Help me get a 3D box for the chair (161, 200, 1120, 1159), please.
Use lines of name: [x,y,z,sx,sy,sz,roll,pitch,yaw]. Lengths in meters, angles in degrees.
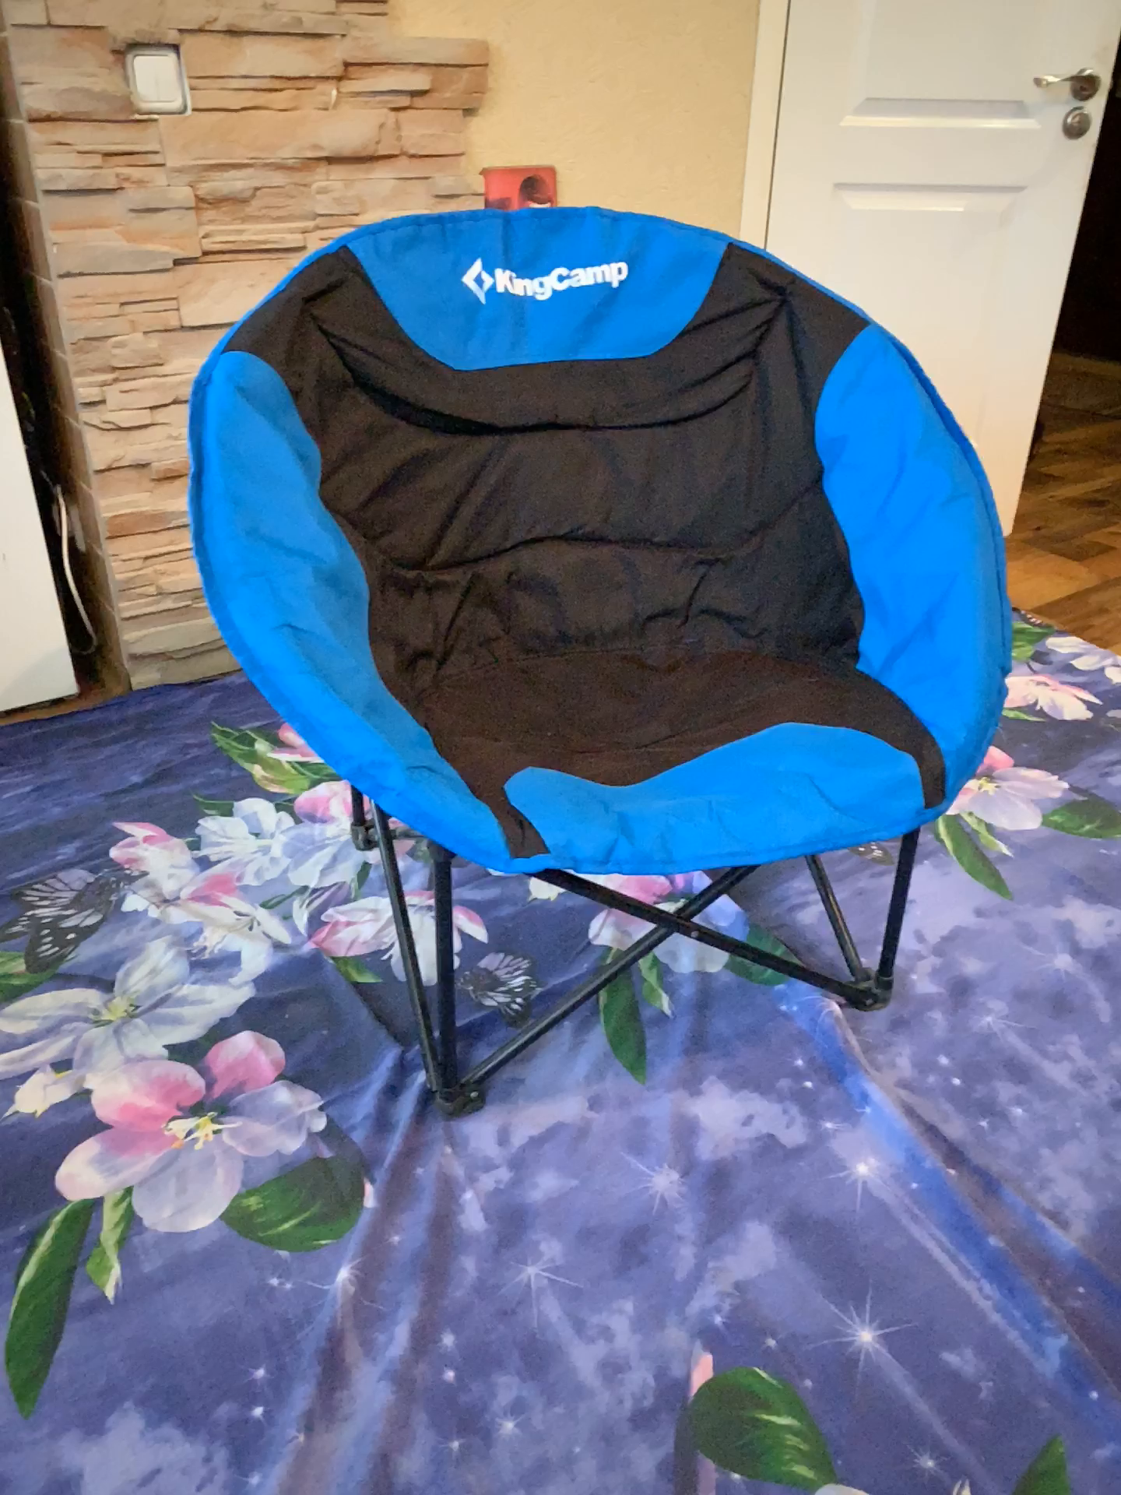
chair: [0.021,-0.144,1.259,0.761,0.772,0.613,-8,31,-15]
